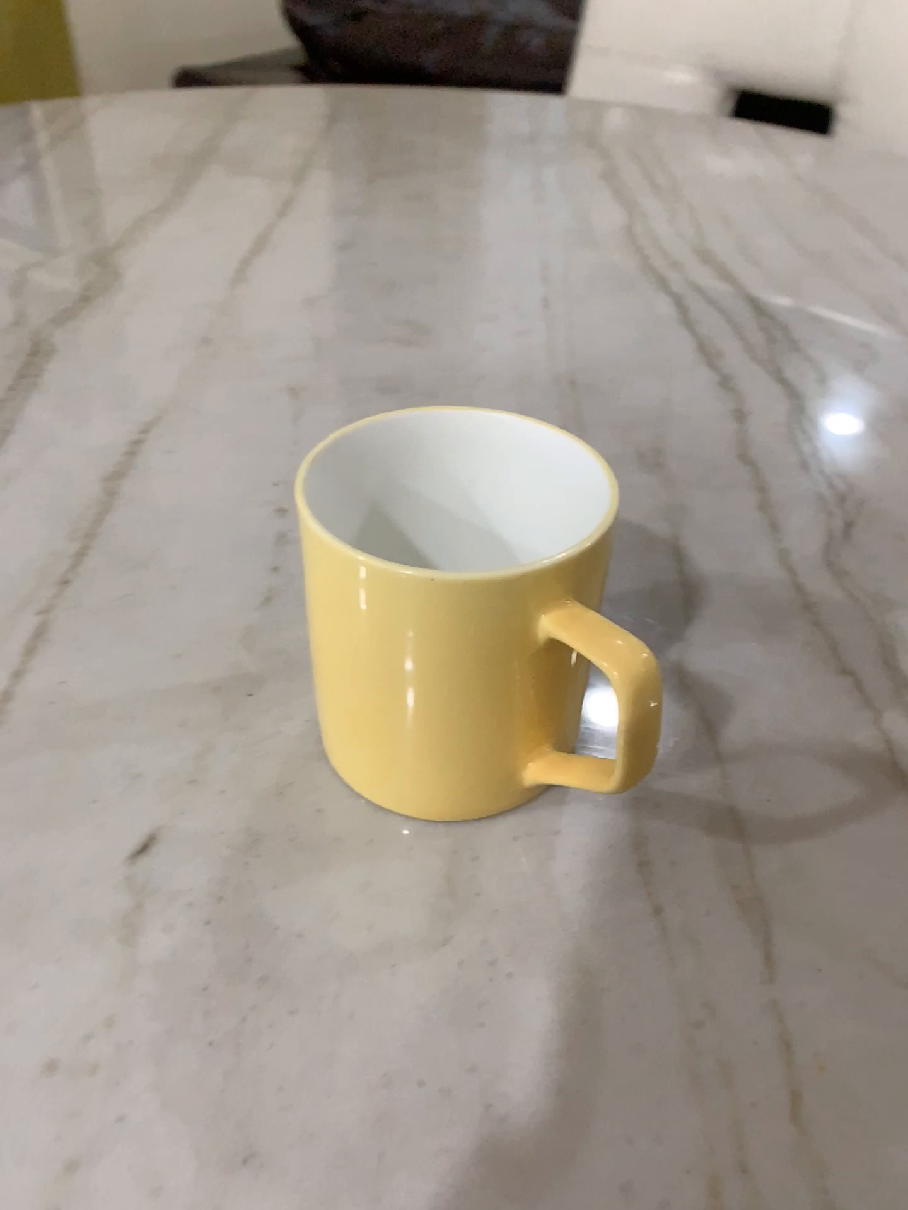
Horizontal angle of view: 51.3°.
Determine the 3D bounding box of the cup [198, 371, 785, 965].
[{"bbox_3d":[0.004,0.006,0.230,0.075,0.074,0.110,-27,47,-31],"label":"cup"}]
